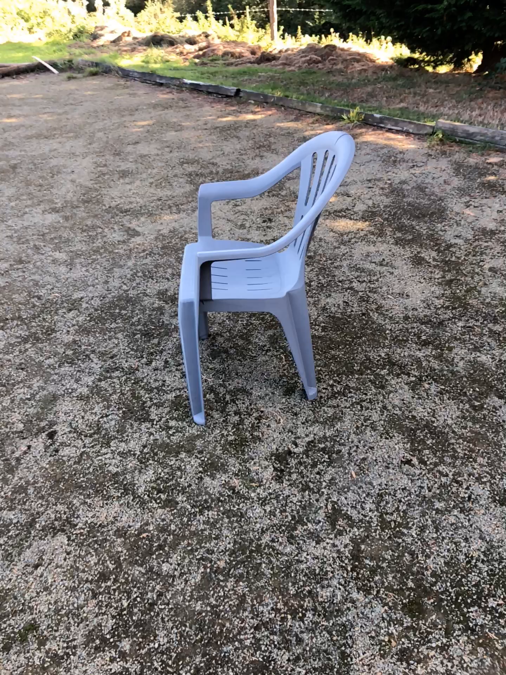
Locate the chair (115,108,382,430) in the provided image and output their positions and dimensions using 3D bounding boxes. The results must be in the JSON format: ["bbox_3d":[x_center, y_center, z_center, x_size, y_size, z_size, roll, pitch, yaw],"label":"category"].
[{"bbox_3d":[0.012,-0.228,1.753,0.620,0.775,0.634,-3,34,2],"label":"chair"}]
